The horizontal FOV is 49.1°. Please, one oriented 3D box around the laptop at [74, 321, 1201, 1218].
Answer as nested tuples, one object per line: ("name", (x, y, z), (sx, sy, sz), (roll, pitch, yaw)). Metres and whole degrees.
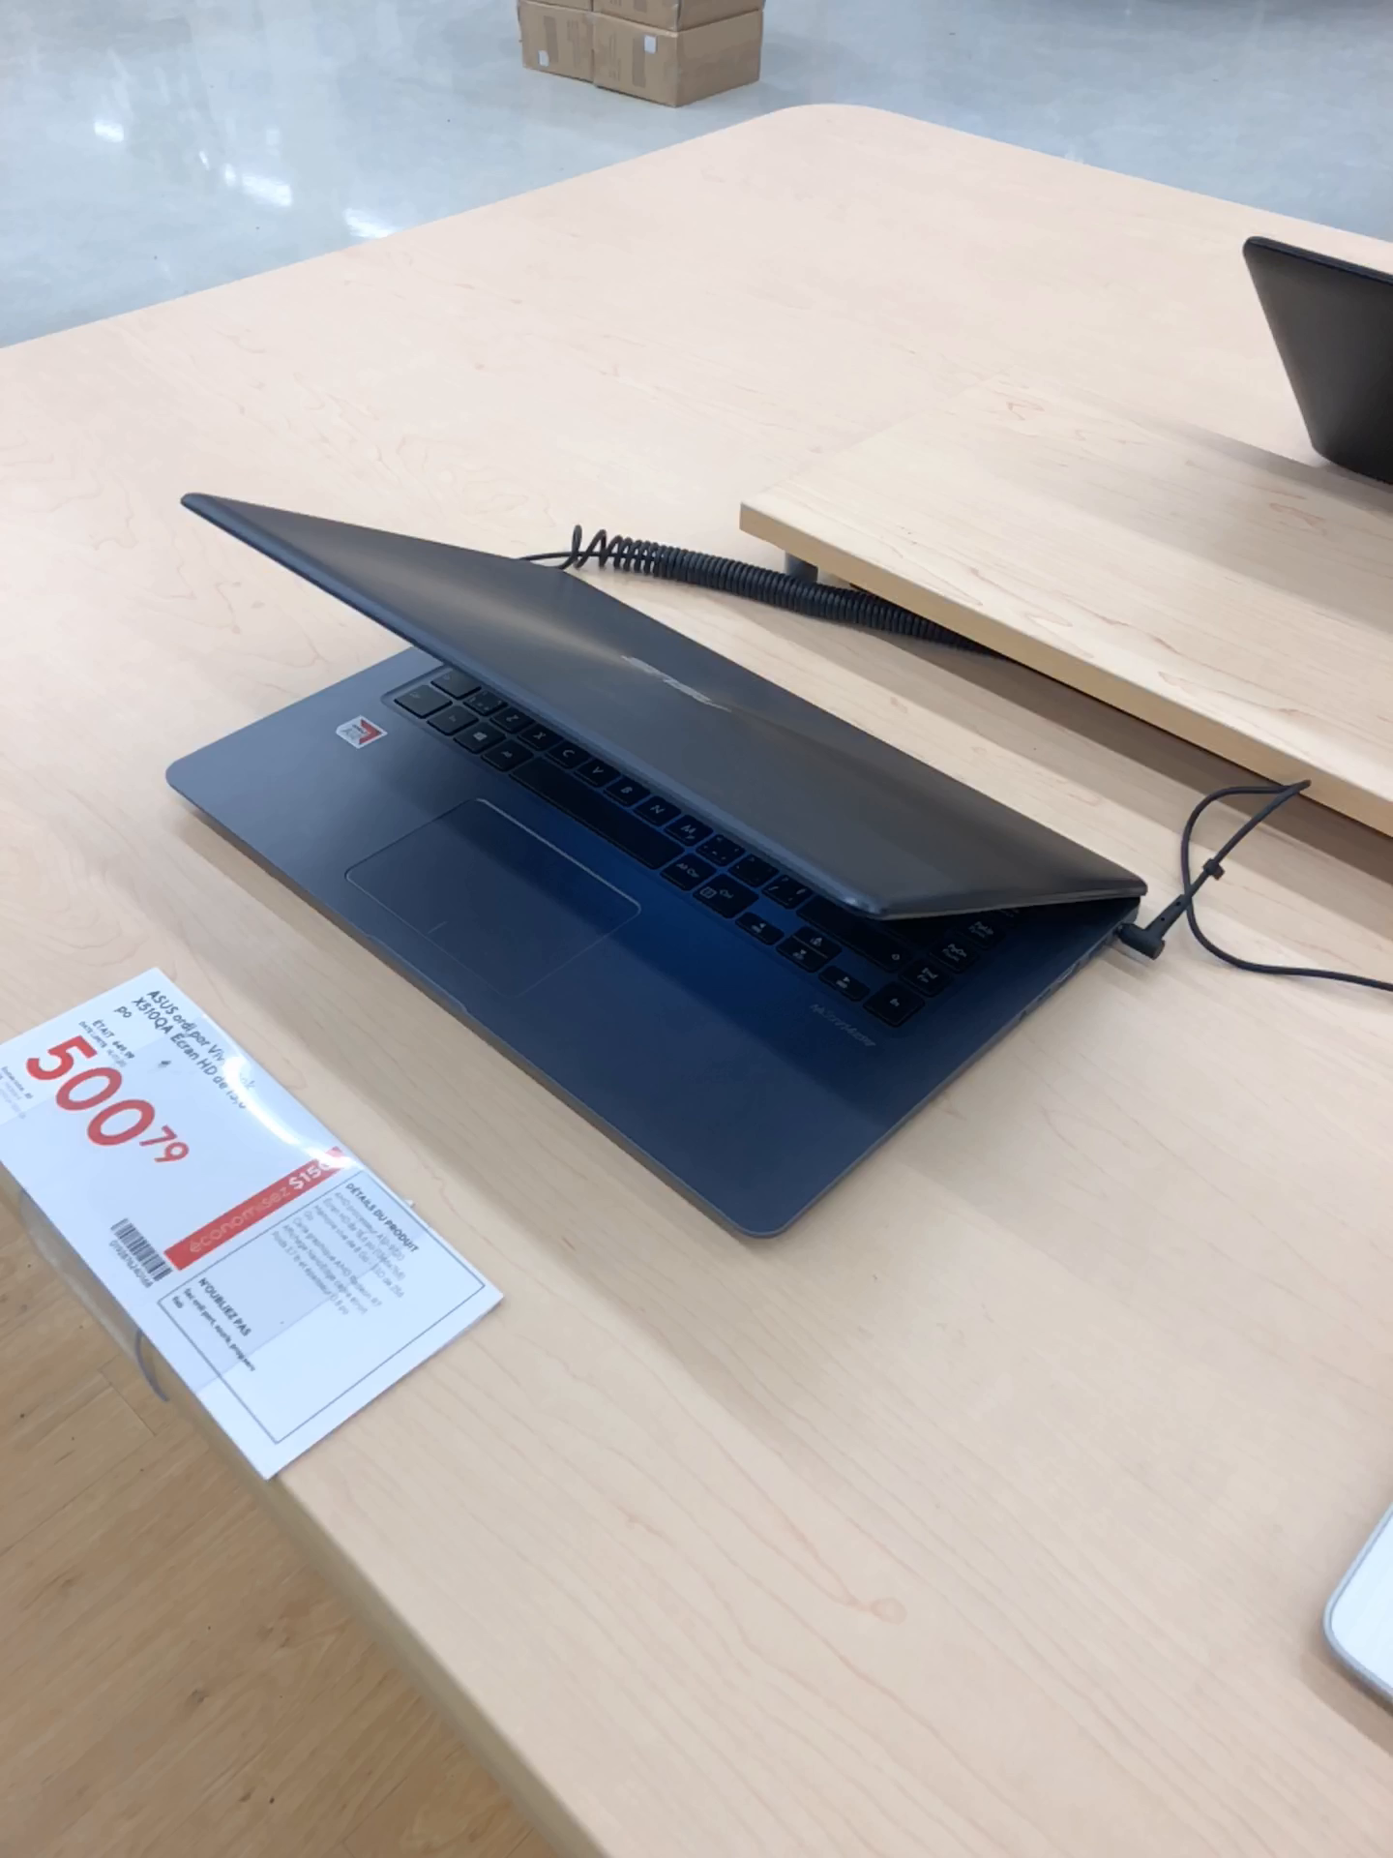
("laptop", (-0.029, -0.092, 0.608), (0.345, 0.136, 0.232), (33, 52, 29))
